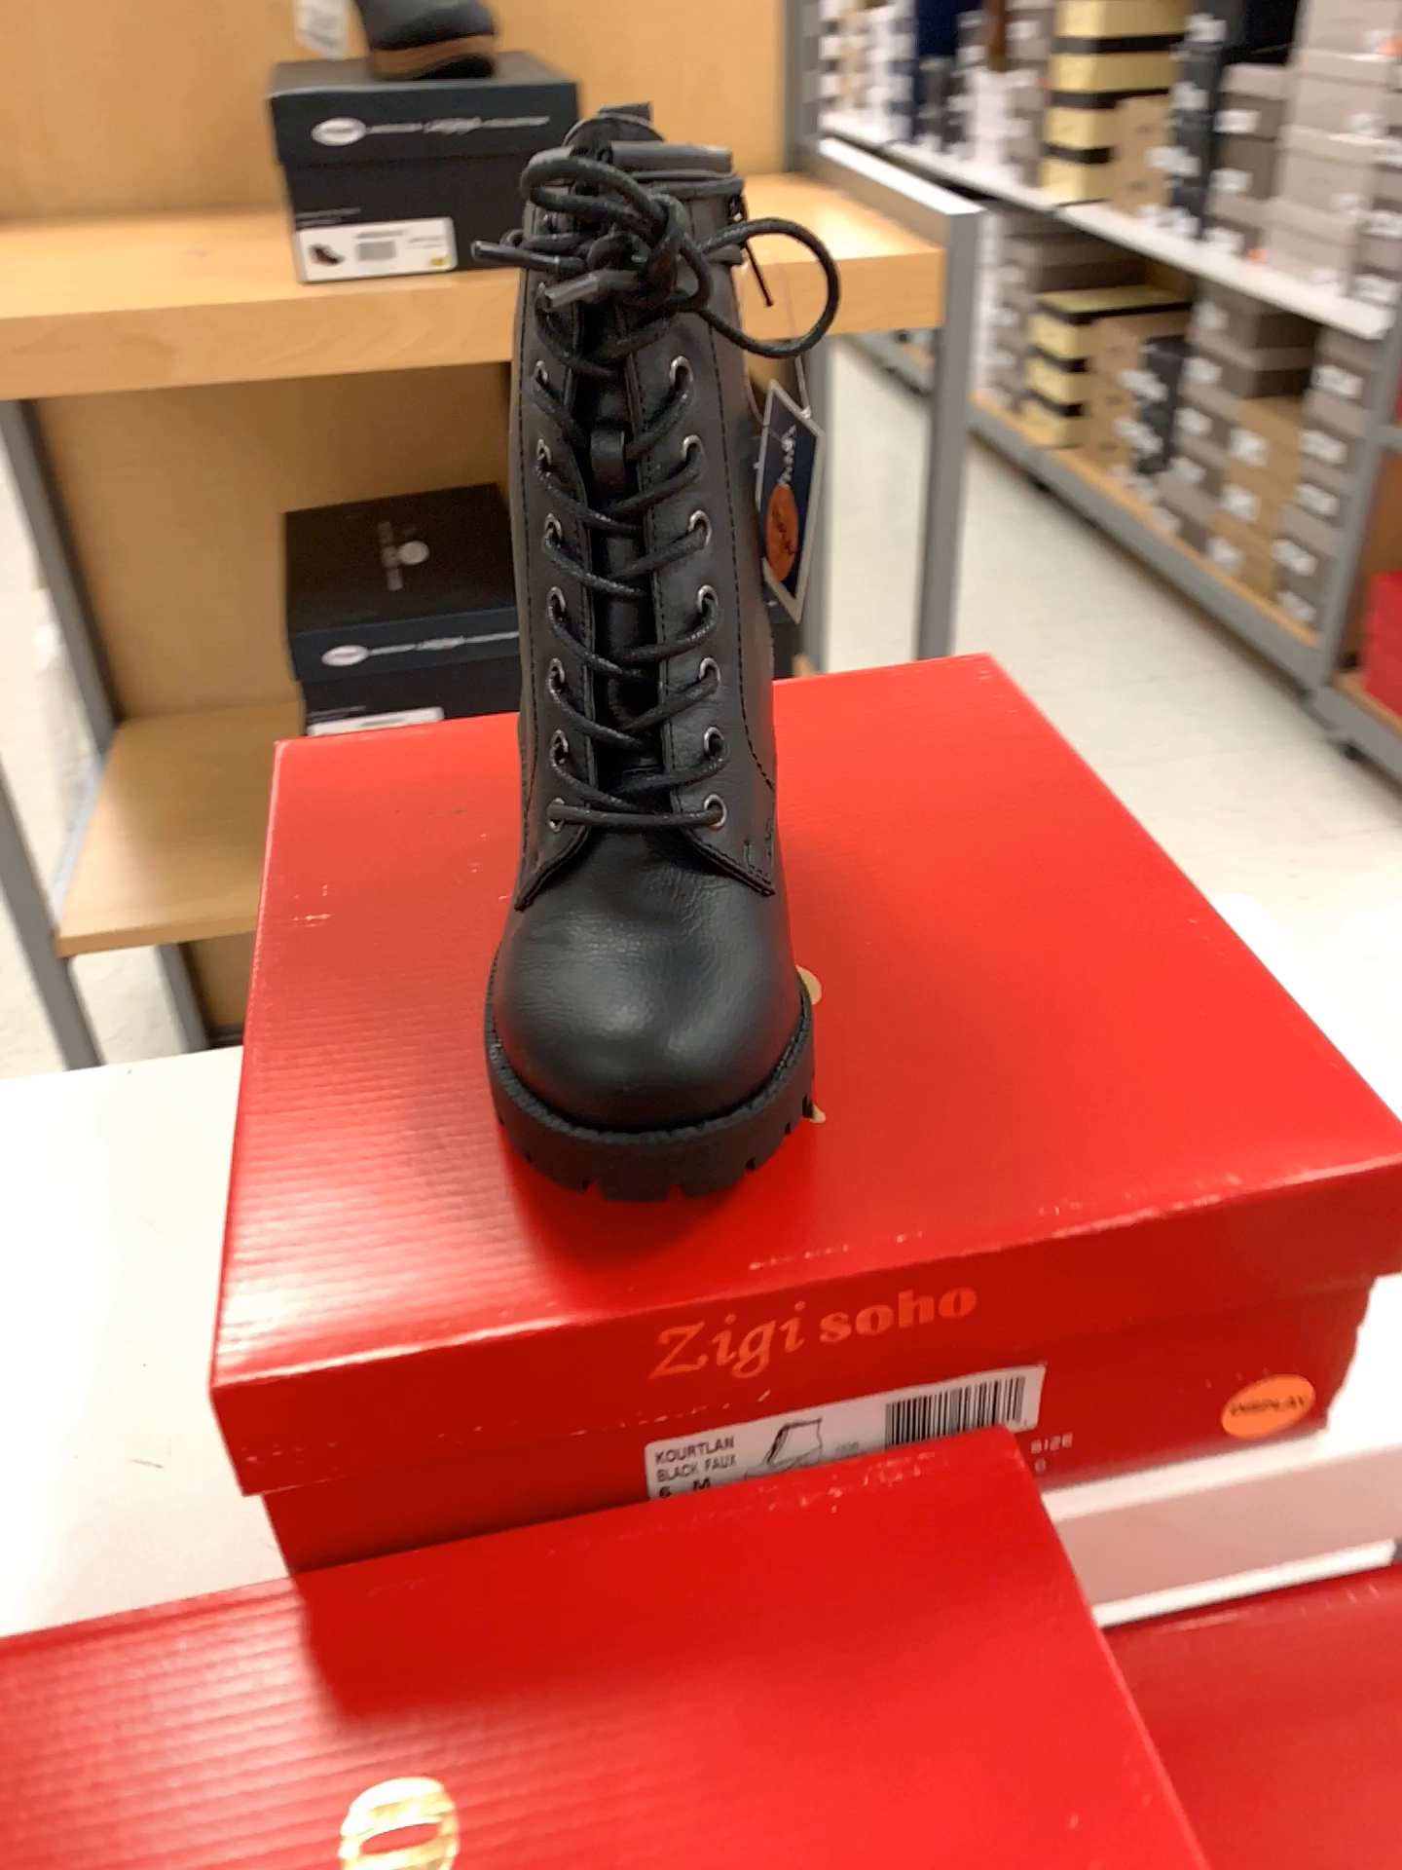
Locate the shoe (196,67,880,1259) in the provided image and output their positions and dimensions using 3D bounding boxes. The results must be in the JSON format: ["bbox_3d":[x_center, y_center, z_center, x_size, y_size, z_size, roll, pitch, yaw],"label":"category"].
[{"bbox_3d":[-0.020,-0.073,0.334,0.092,0.203,0.202,-2,35,1],"label":"shoe"}]
